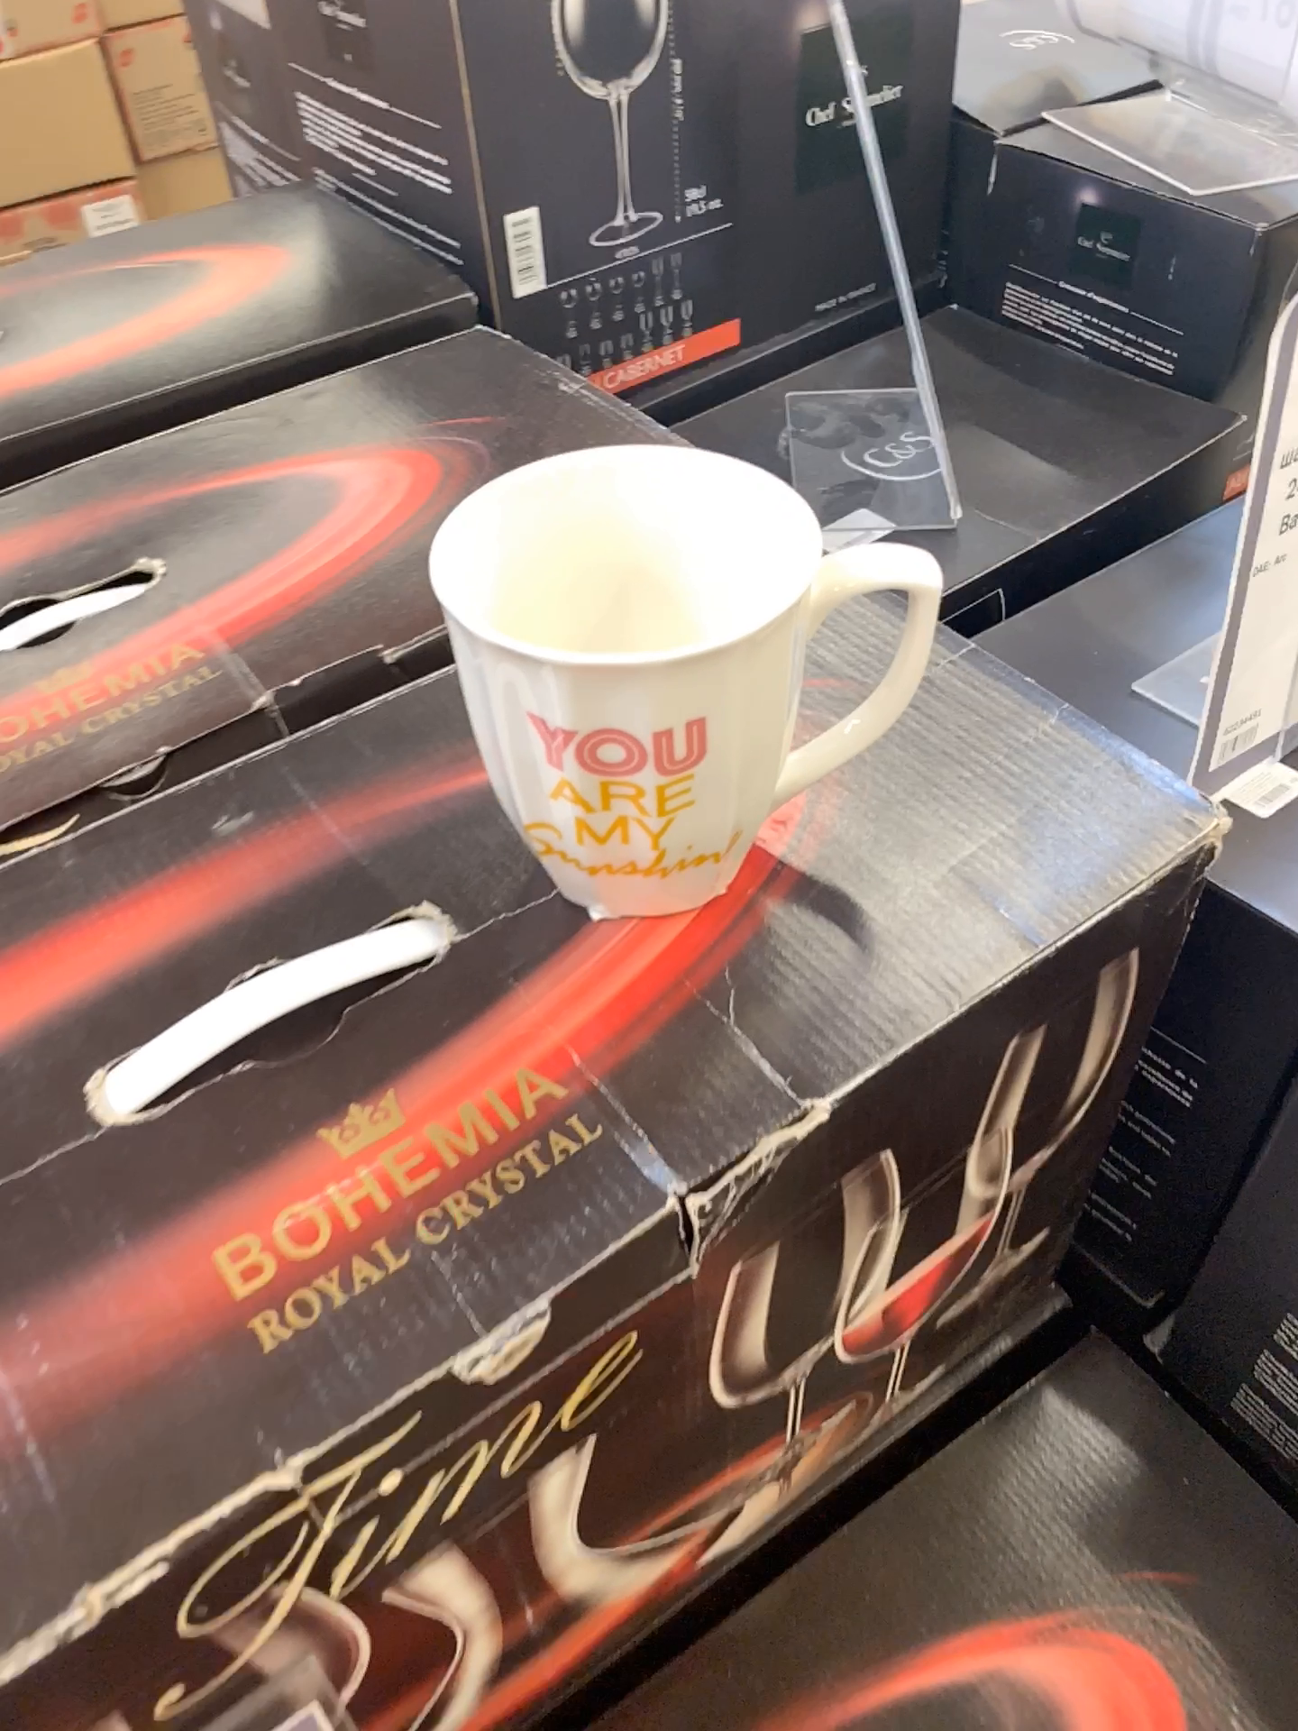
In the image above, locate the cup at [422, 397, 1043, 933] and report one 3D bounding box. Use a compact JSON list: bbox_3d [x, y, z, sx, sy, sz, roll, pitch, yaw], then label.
[{"bbox_3d":[0.015,-0.049,0.315,0.120,0.080,0.090,-4,45,-1],"label":"cup"}]
